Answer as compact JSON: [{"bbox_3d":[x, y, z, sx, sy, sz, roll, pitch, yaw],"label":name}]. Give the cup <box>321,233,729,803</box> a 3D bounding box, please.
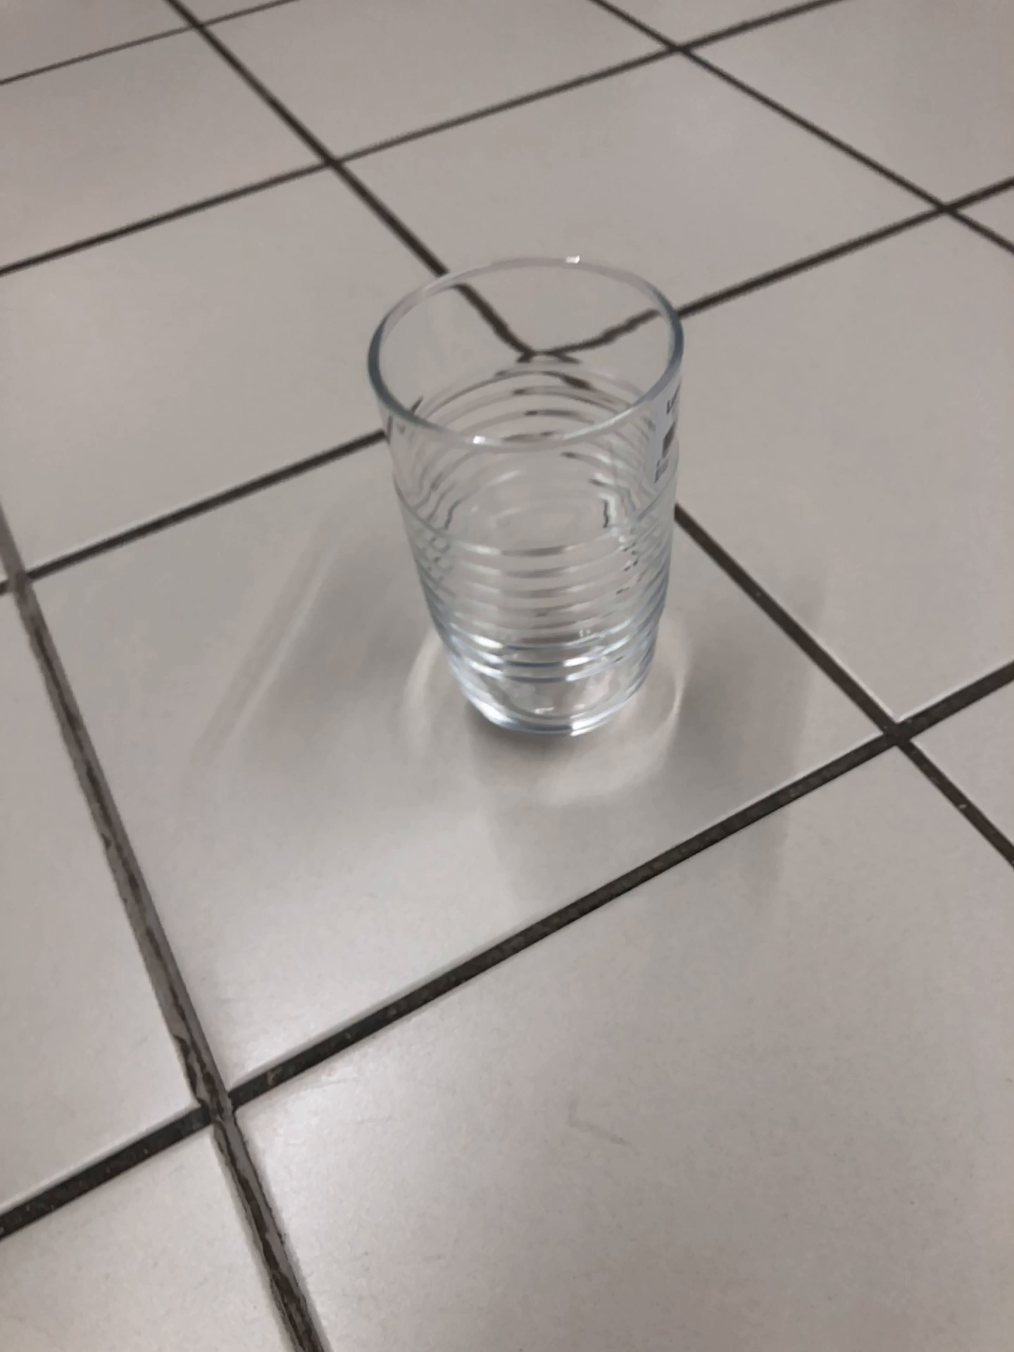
[{"bbox_3d":[0.003,-0.036,0.281,0.076,0.104,0.079,-3,51,3],"label":"cup"}]
